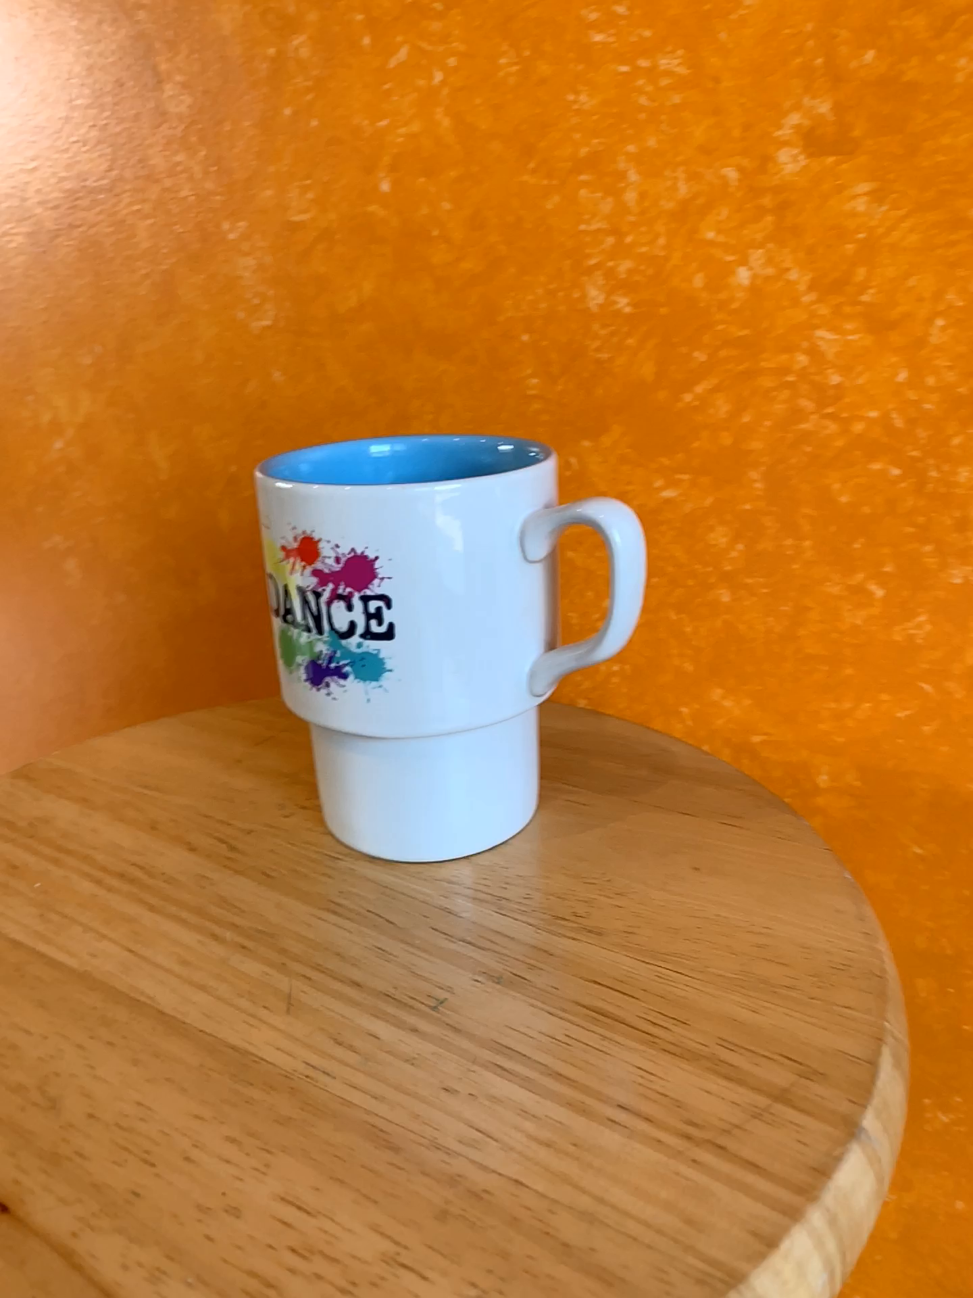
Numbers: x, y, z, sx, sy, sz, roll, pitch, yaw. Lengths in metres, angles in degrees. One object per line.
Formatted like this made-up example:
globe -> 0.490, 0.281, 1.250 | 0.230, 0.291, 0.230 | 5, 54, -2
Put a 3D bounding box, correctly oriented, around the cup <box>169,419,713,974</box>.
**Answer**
cup -> -0.013, 0.000, 0.282 | 0.120, 0.110, 0.080 | 15, 26, 39
